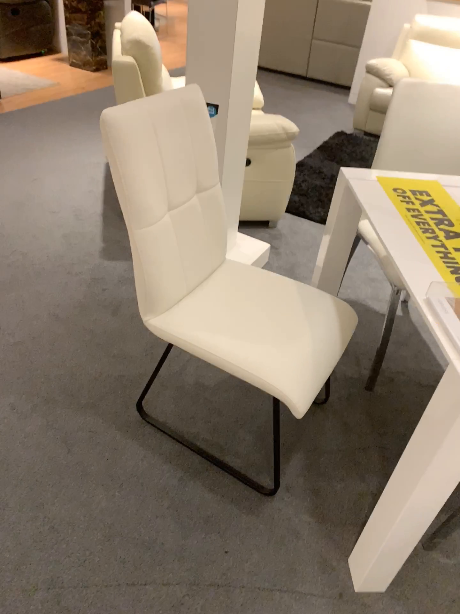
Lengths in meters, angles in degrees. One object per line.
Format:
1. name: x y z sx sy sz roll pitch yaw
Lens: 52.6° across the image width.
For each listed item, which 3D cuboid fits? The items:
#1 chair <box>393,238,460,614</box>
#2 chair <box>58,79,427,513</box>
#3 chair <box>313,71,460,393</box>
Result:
1. chair: 0.748 0.452 0.746 0.550 0.881 0.606 5 38 -3
2. chair: 0.018 -0.044 1.288 0.631 0.881 0.544 24 41 20
3. chair: 0.723 -0.253 1.662 0.520 0.901 0.646 0 39 -9
